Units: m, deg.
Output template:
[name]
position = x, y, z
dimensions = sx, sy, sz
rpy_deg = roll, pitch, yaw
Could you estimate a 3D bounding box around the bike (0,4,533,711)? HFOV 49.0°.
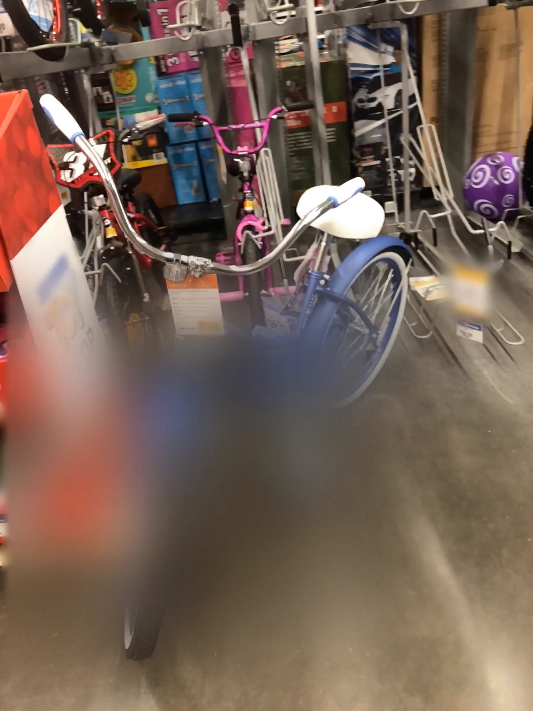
[bike]
position = 0.082, -0.072, 1.436
dimensions = 0.858, 1.113, 1.359
rpy_deg = 12, 38, 31
